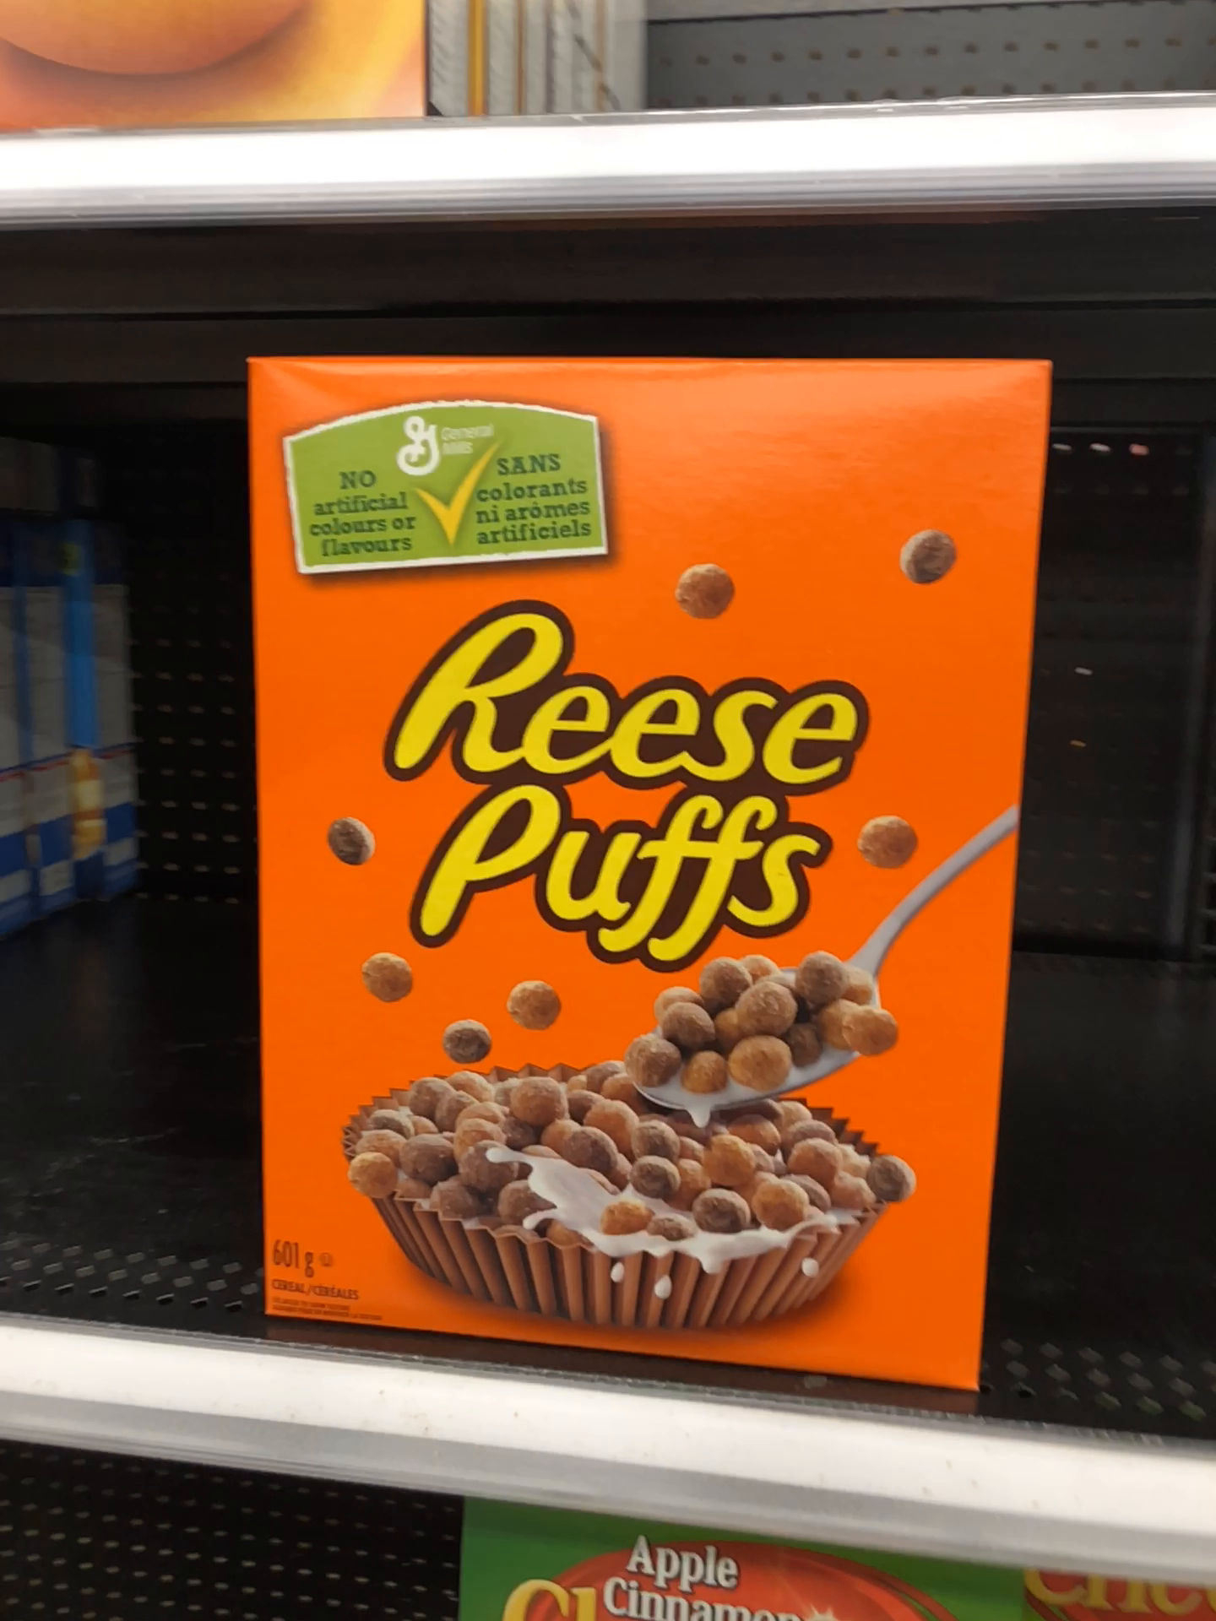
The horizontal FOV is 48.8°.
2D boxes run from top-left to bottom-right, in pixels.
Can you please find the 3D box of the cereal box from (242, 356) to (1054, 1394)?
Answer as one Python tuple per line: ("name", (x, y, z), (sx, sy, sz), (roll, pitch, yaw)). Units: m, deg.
("cereal box", (0.009, 0.018, 0.453), (0.240, 0.319, 0.070), (2, 9, 8))
